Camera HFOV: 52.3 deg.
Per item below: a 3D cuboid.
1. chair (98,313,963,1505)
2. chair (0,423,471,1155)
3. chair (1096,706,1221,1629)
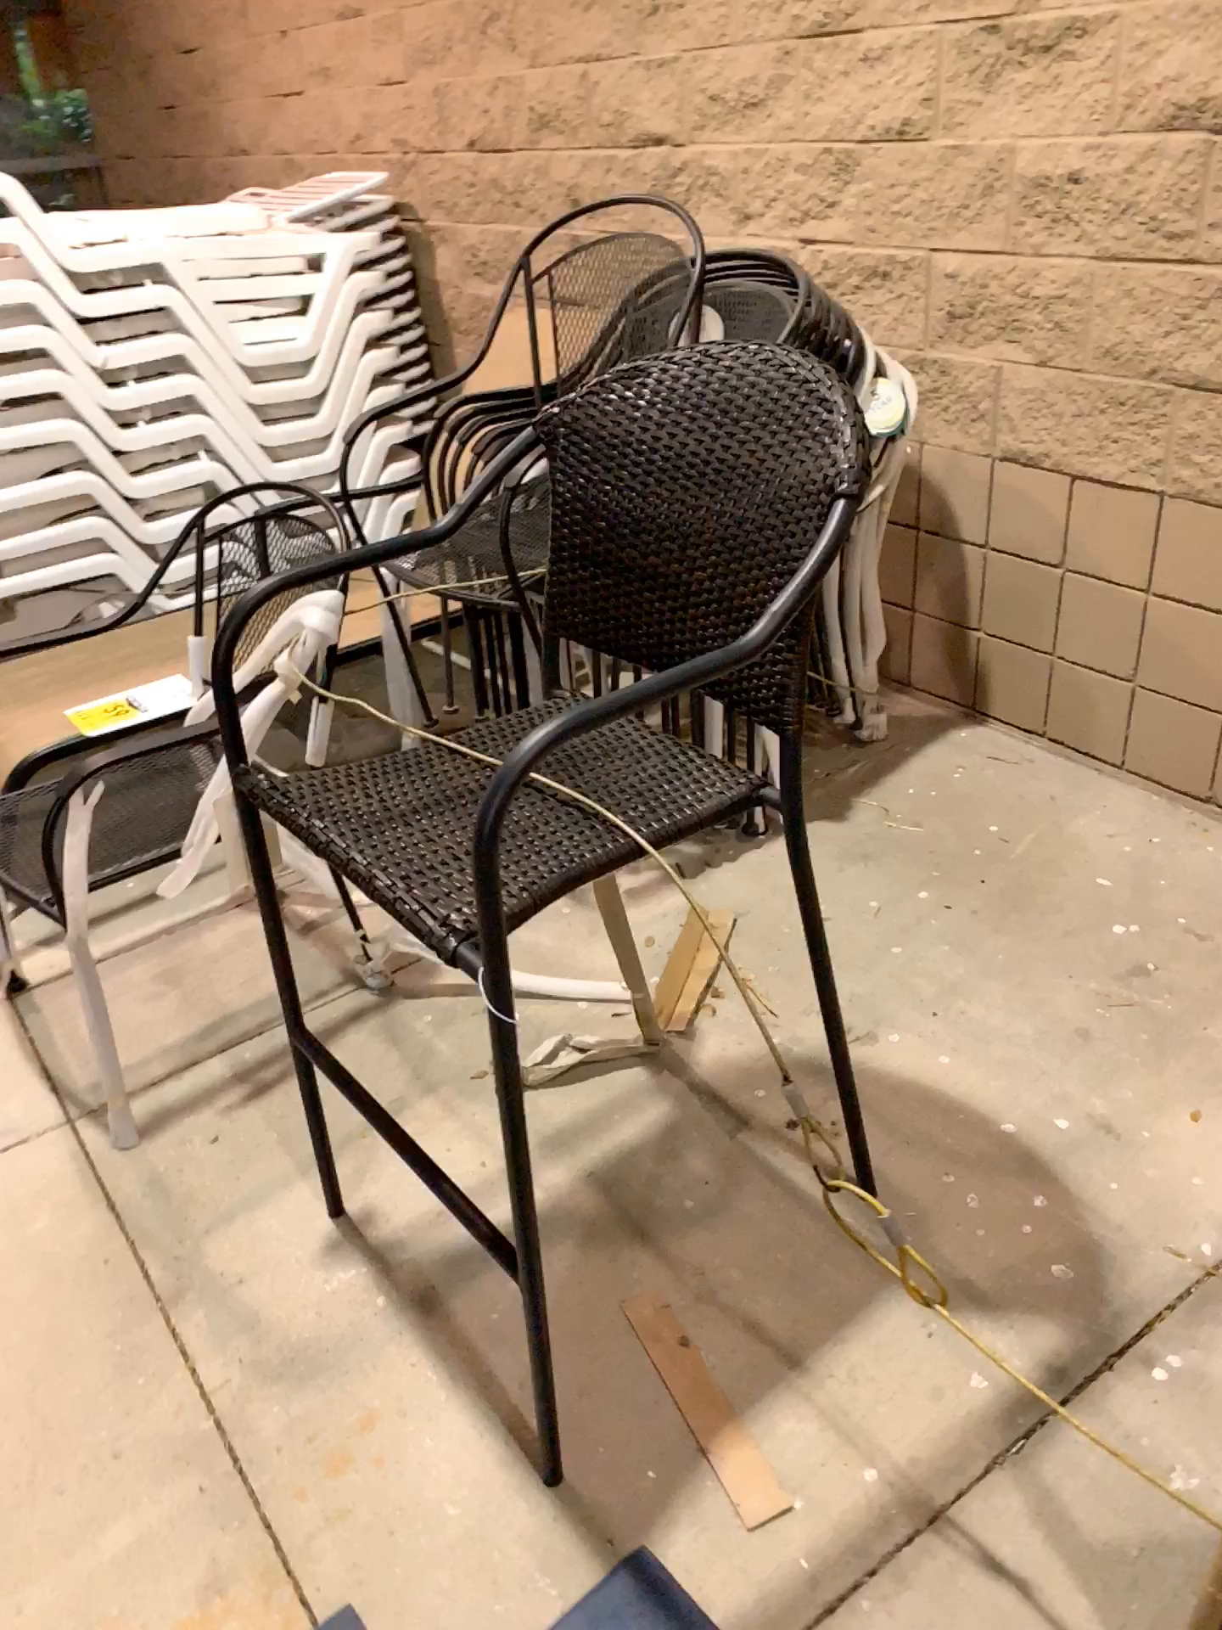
[{"bbox_3d":[-0.046,0.074,1.446,0.608,1.101,0.559,-25,35,-30],"label":"chair"},{"bbox_3d":[-0.690,-0.084,1.944,0.608,0.832,0.579,-27,37,-32],"label":"chair"},{"bbox_3d":[0.816,0.485,0.819,0.627,0.832,0.570,-16,32,-18],"label":"chair"}]
